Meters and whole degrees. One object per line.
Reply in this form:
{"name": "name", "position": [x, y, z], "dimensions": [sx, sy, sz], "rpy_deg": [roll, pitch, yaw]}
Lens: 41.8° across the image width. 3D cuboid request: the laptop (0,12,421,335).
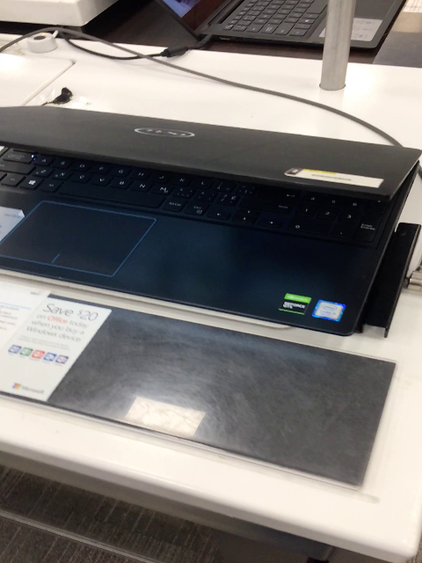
{"name": "laptop", "position": [-0.050, -0.111, 0.467], "dimensions": [0.408, 0.117, 0.221], "rpy_deg": [13, 53, 16]}
